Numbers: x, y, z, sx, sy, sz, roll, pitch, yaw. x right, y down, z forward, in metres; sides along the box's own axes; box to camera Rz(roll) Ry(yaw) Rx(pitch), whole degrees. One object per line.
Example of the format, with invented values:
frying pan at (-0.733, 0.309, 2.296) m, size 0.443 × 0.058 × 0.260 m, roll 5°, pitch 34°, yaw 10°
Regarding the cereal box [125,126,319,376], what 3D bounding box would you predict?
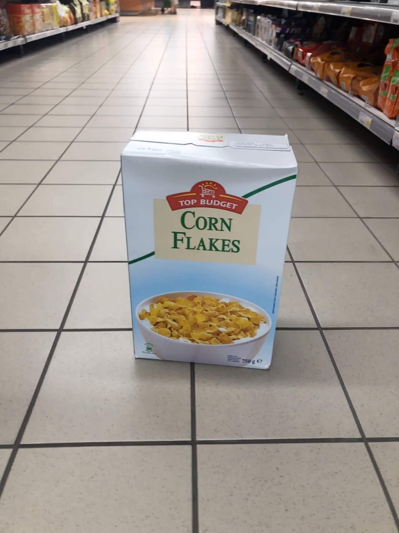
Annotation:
cereal box at (0.022, -0.016, 0.576) m, size 0.200 × 0.288 × 0.121 m, roll 5°, pitch 31°, yaw 4°
